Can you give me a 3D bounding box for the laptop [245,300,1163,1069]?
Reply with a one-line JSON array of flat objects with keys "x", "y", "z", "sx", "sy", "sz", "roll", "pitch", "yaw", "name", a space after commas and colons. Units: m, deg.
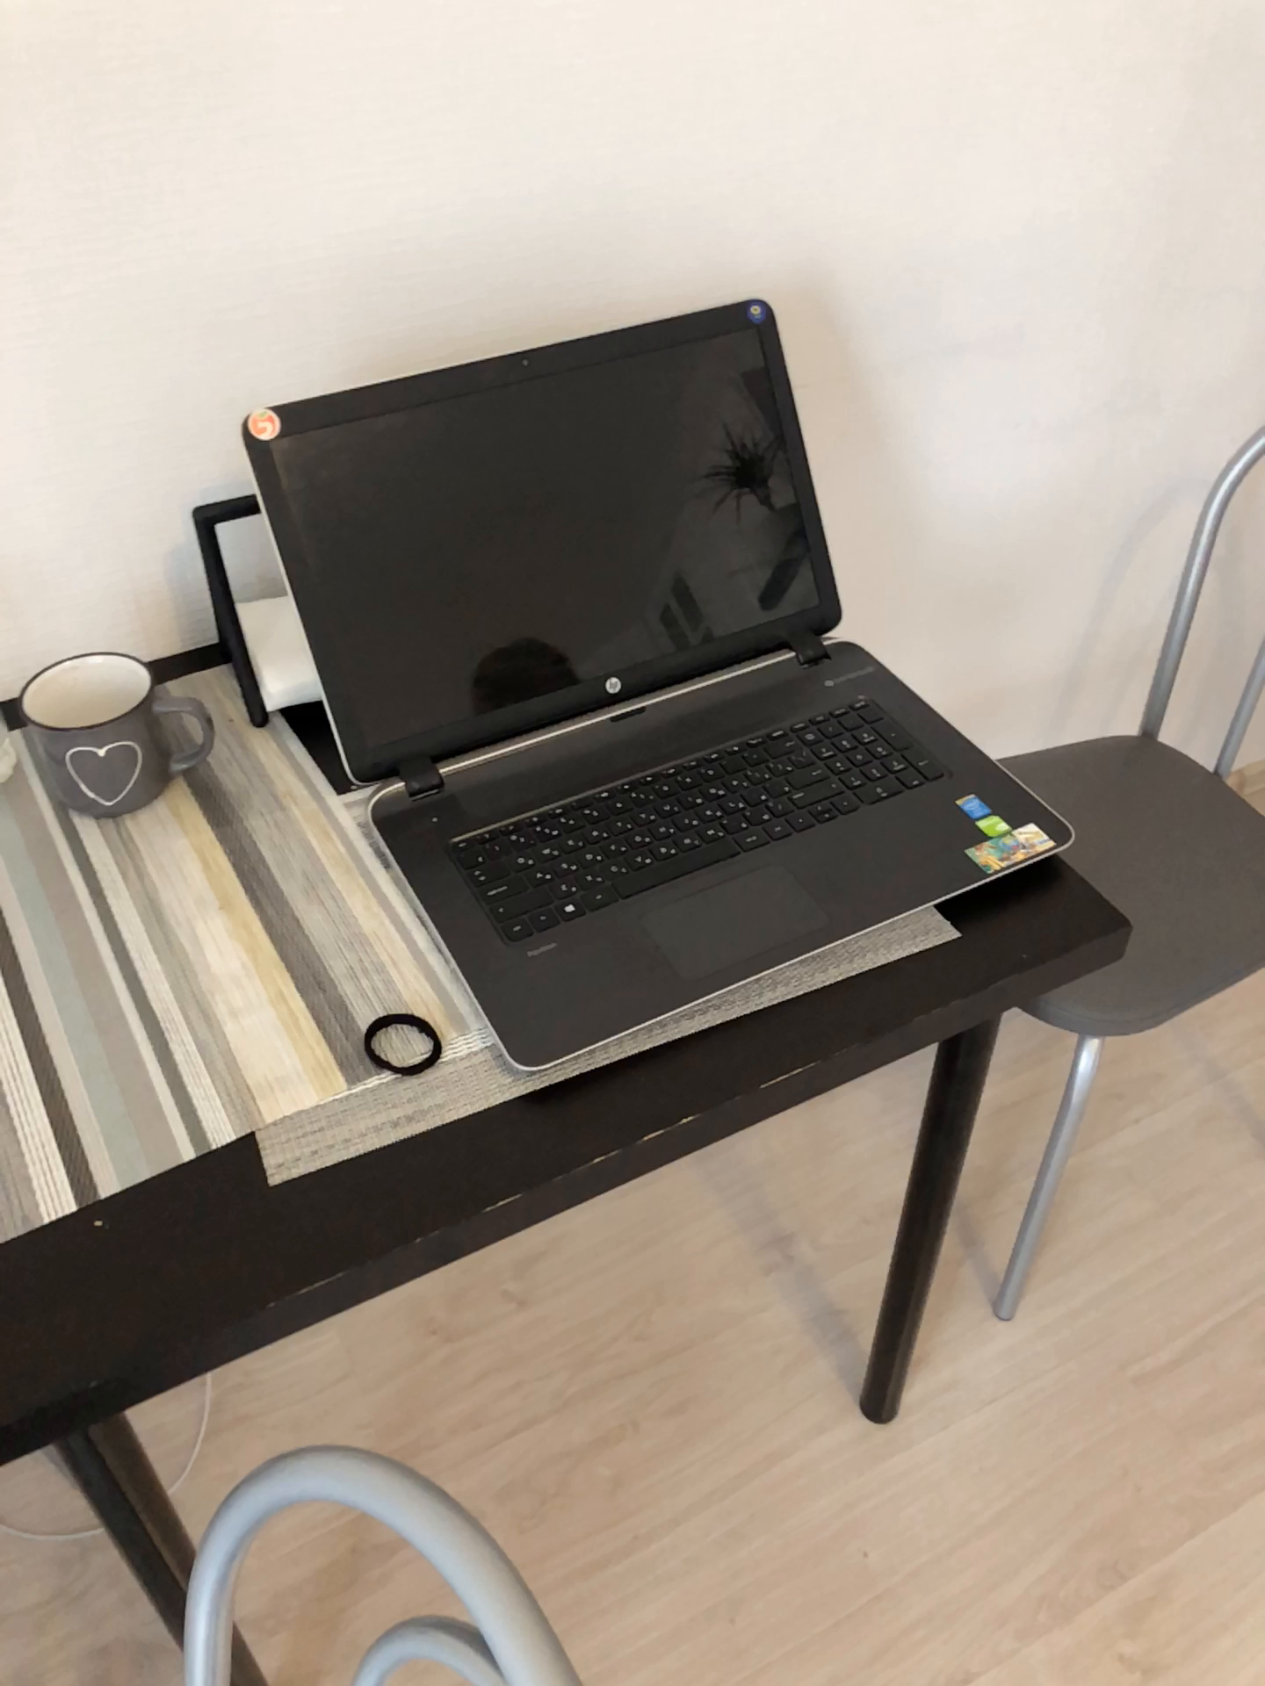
[{"x": 0.023, "y": -0.143, "z": 0.937, "sx": 0.416, "sy": 0.227, "sz": 0.414, "roll": -20, "pitch": 46, "yaw": -20, "name": "laptop"}]
